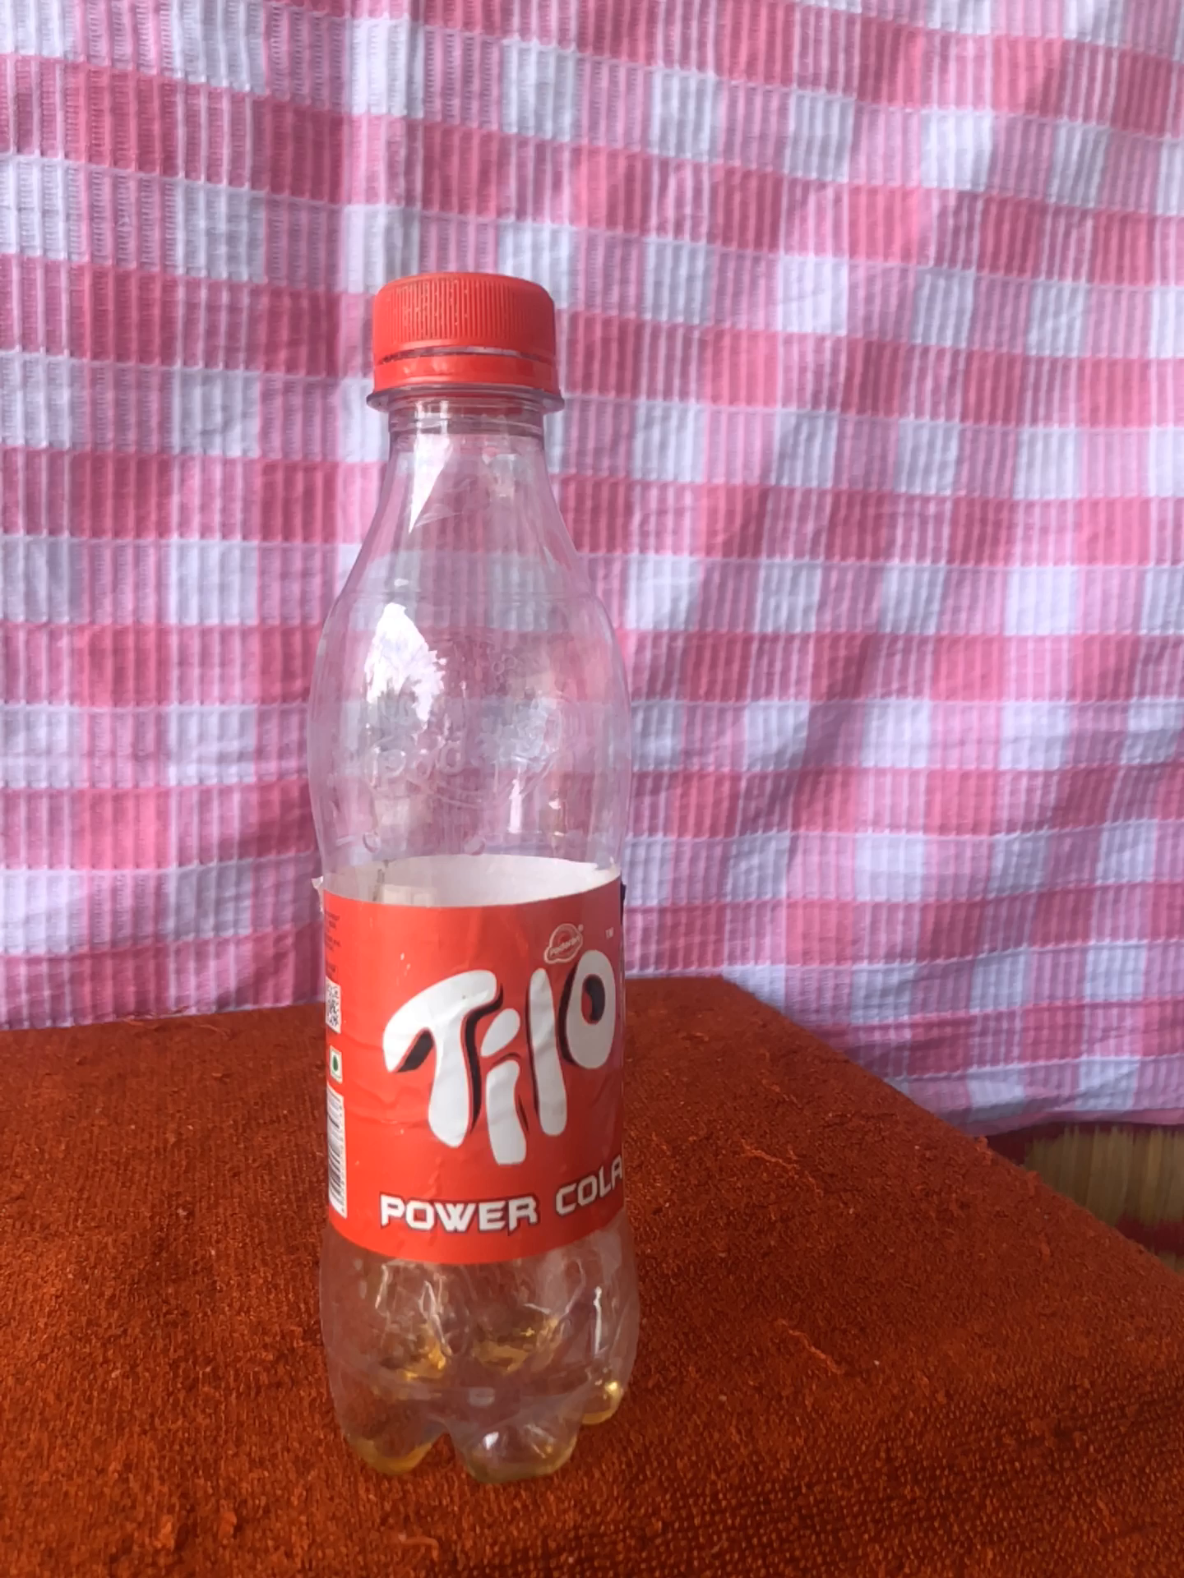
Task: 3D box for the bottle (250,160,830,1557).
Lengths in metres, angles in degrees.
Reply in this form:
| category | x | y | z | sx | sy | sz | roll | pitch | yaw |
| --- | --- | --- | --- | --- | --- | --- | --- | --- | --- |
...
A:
| category | x | y | z | sx | sy | sz | roll | pitch | yaw |
| --- | --- | --- | --- | --- | --- | --- | --- | --- | --- |
| bottle | -0.015 | 0.012 | 0.213 | 0.060 | 0.190 | 0.060 | 5 | 11 | -1 |
